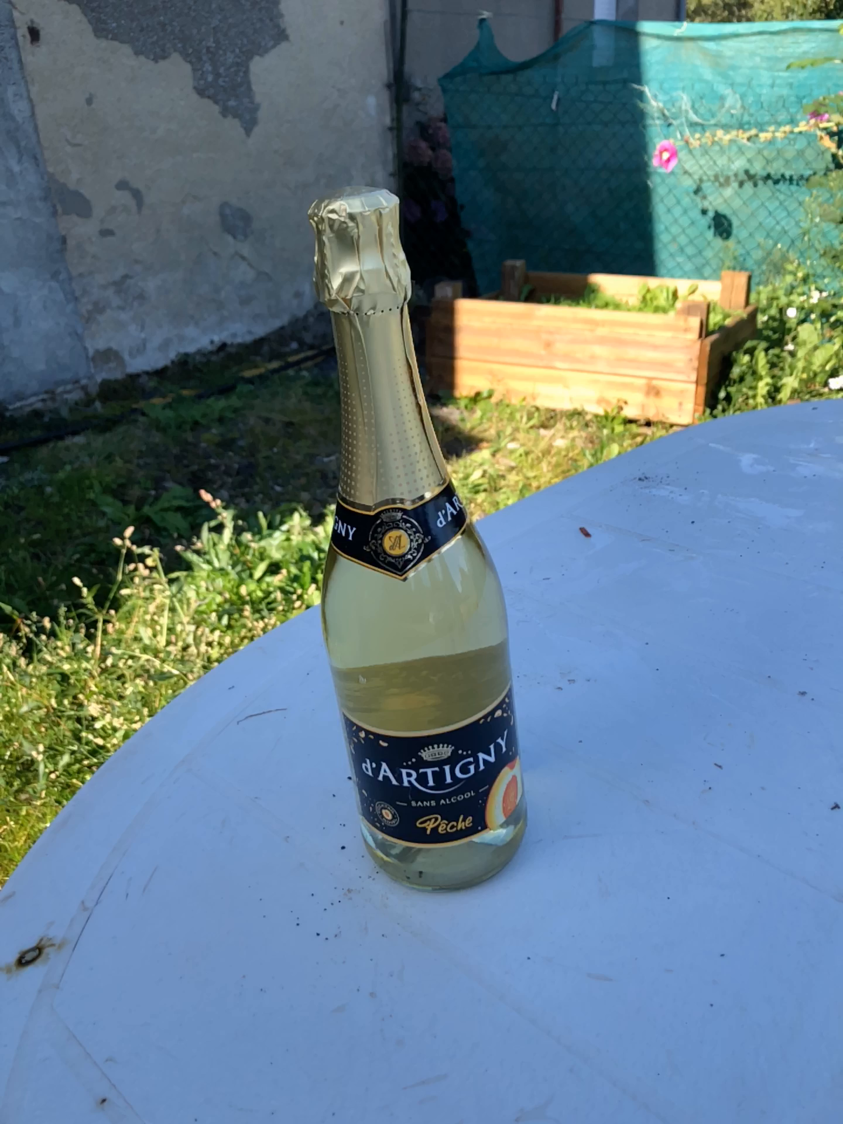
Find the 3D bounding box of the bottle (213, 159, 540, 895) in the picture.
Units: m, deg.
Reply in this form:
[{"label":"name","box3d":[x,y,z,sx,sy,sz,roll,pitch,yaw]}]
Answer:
[{"label":"bottle","box3d":[-0.004,-0.003,0.397,0.090,0.298,0.091,-5,27,3]}]
